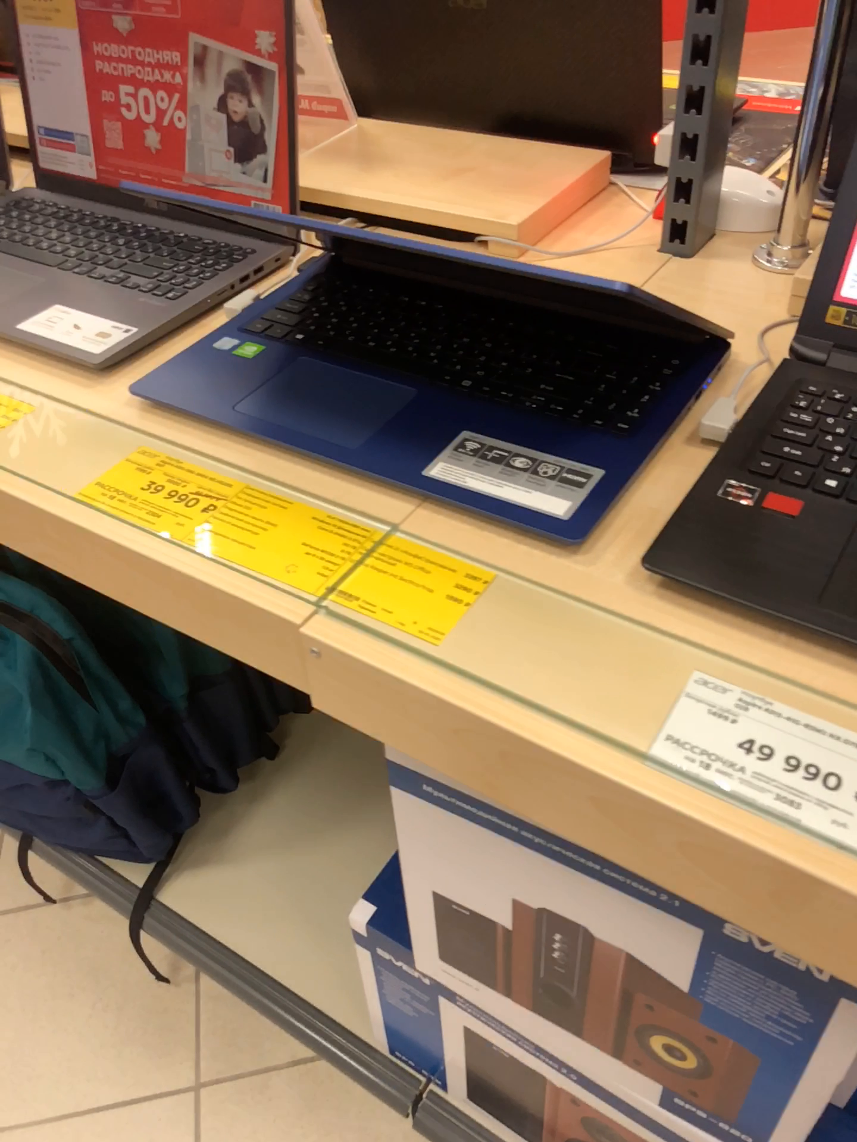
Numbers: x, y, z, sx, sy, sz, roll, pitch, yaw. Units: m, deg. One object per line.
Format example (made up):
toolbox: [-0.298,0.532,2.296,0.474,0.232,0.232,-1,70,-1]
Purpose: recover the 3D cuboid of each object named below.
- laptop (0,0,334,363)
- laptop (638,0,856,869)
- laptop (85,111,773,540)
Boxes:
laptop: [-0.344,-0.399,0.833,0.390,0.206,0.303,22,50,27]
laptop: [0.358,-0.140,0.445,0.358,0.226,0.355,23,49,30]
laptop: [-0.001,-0.195,0.641,0.367,0.126,0.246,21,48,28]
